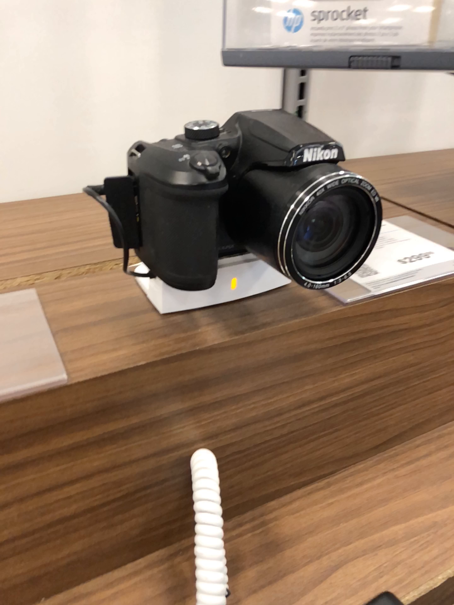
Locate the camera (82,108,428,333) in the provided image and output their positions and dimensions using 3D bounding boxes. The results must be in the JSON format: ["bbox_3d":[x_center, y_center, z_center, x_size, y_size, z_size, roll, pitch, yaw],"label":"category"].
[{"bbox_3d":[0.007,-0.059,0.277,0.130,0.070,0.130,-14,31,-25],"label":"camera"}]
